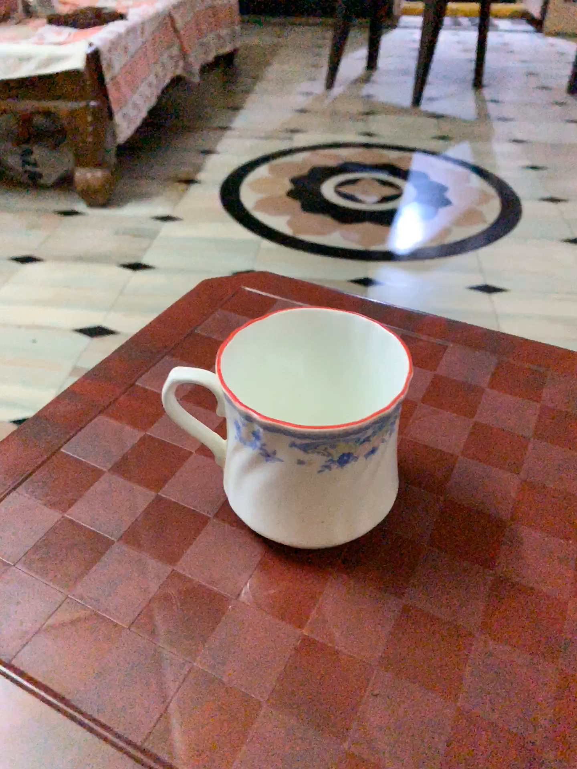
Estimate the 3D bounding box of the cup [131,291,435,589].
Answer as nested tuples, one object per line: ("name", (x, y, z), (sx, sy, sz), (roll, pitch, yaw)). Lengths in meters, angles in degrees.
("cup", (0.001, 0.020, 0.228), (0.090, 0.080, 0.070), (4, 39, 5))
